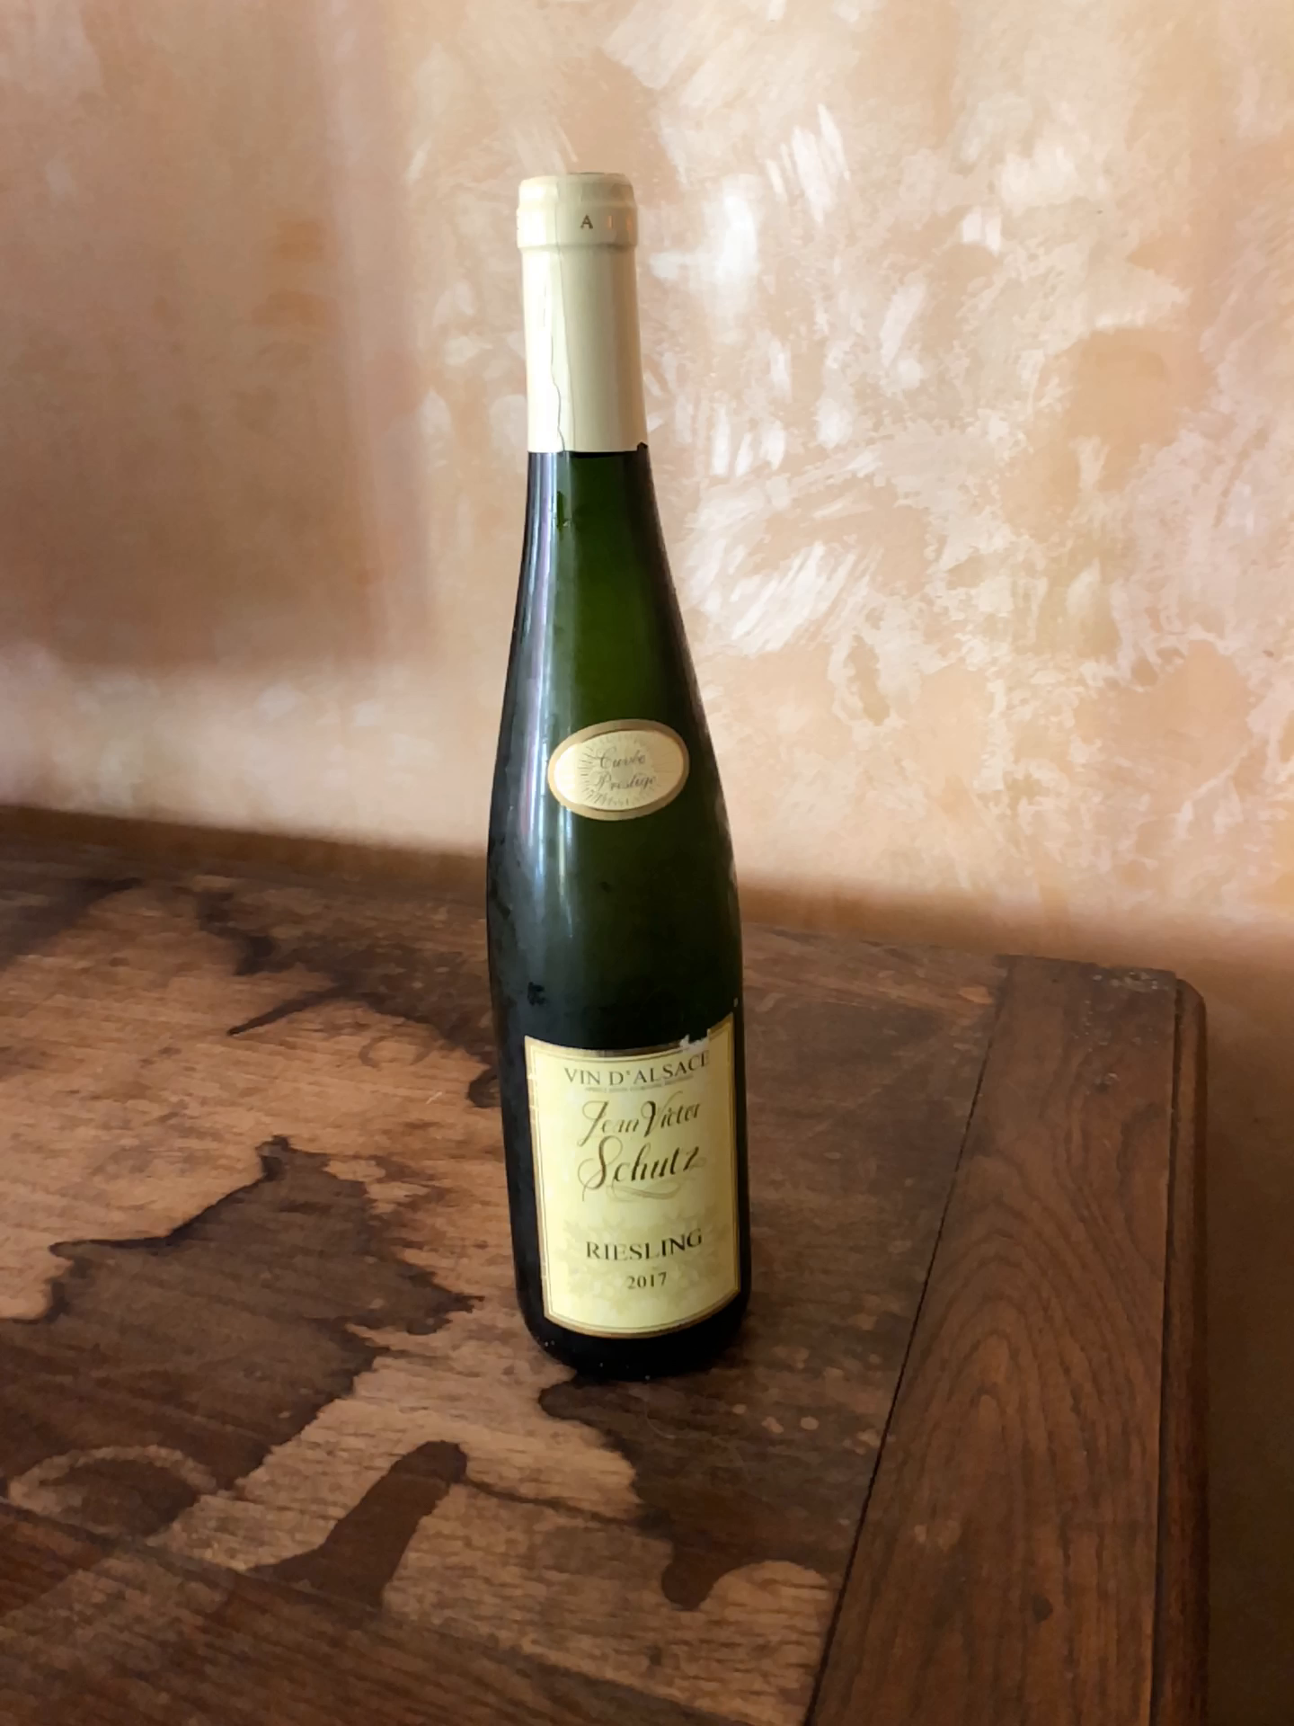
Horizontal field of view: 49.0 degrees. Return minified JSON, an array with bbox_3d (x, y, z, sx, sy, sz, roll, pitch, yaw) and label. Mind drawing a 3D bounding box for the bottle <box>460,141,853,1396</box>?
[{"bbox_3d":[0.000,-0.014,0.385,0.080,0.318,0.080,-1,22,0],"label":"bottle"}]
